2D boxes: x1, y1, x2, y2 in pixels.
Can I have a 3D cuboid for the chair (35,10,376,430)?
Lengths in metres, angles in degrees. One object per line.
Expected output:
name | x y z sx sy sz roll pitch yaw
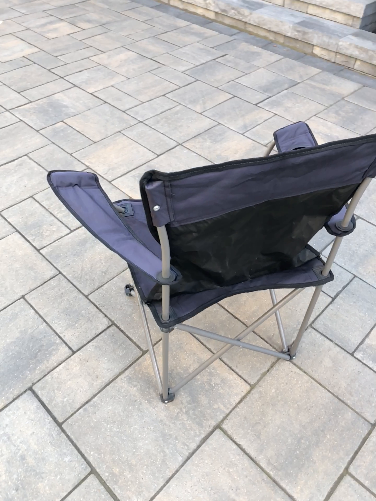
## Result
chair | 0.078 -0.078 1.112 0.691 0.817 0.572 -15 48 -17
